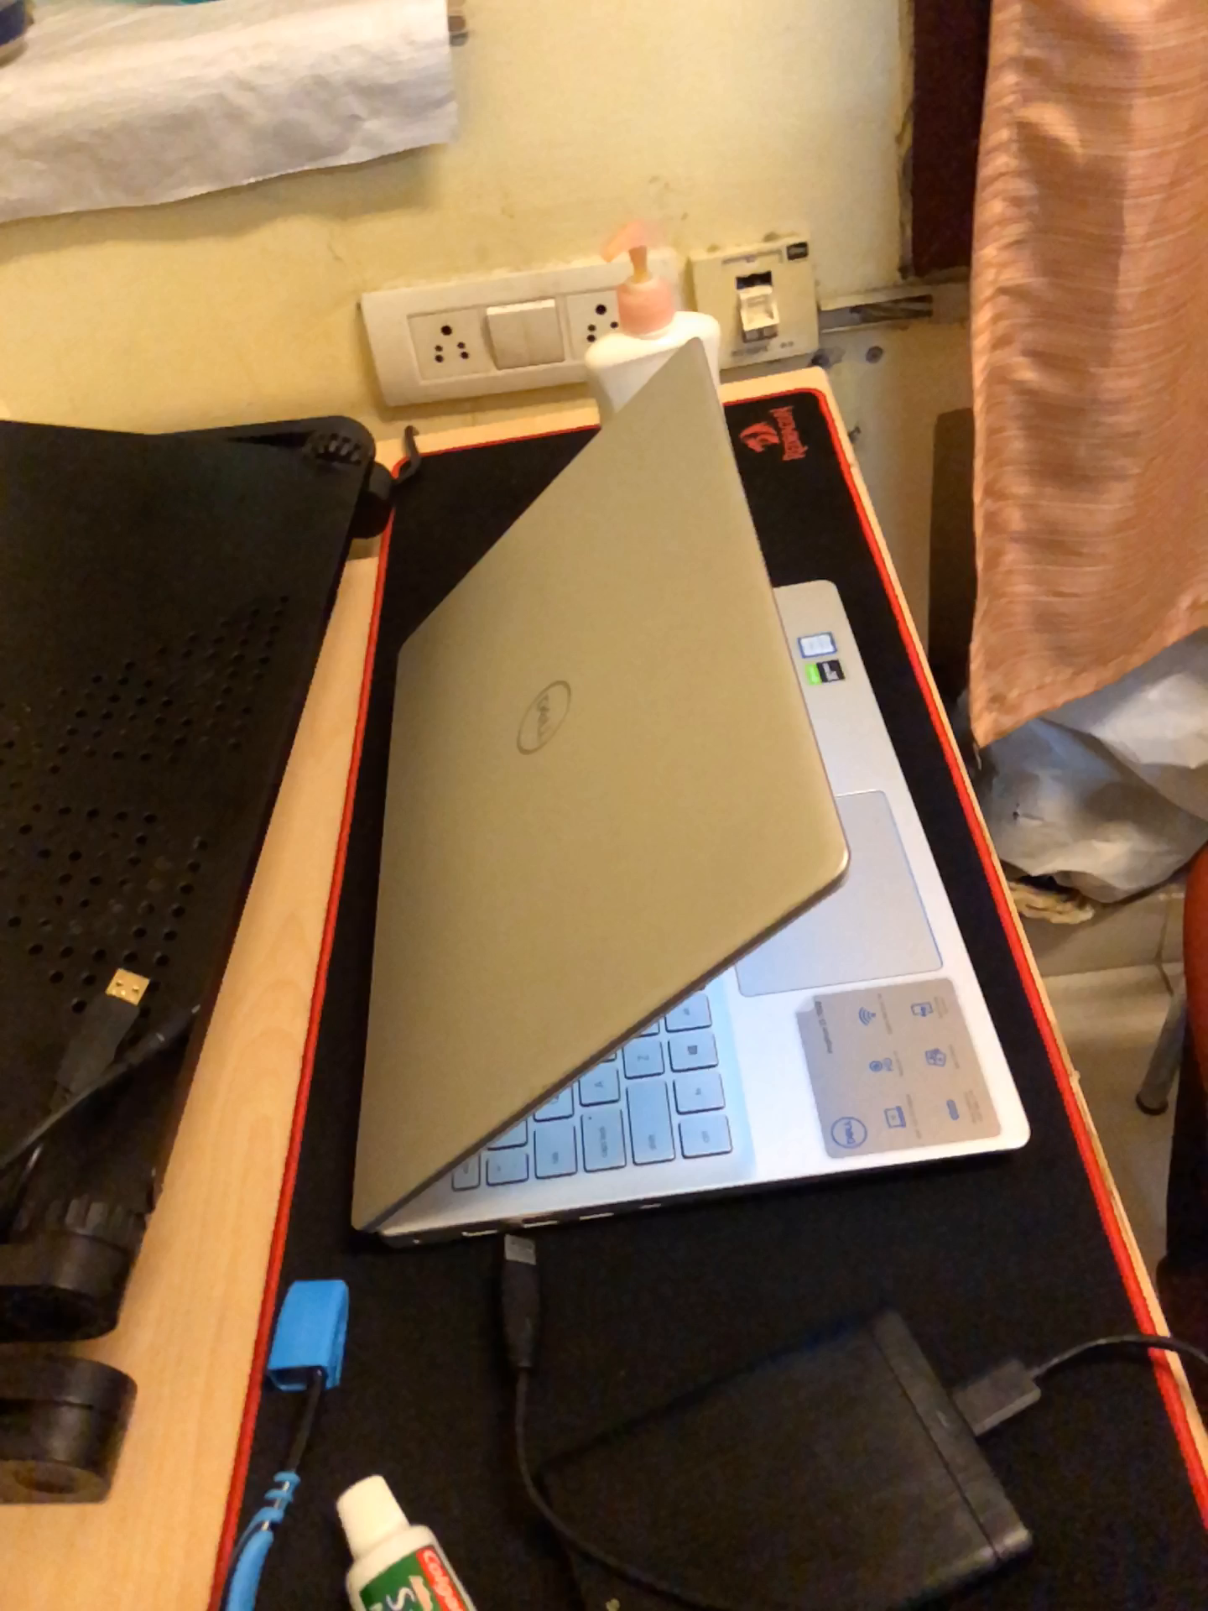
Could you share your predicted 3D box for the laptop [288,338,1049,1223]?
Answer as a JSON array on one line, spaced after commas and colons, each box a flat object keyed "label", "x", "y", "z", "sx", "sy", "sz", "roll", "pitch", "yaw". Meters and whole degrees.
[{"label": "laptop", "x": 0.015, "y": -0.037, "z": 0.553, "sx": 0.218, "sy": 0.139, "sz": 0.353, "roll": -8, "pitch": 43, "yaw": 1}]
